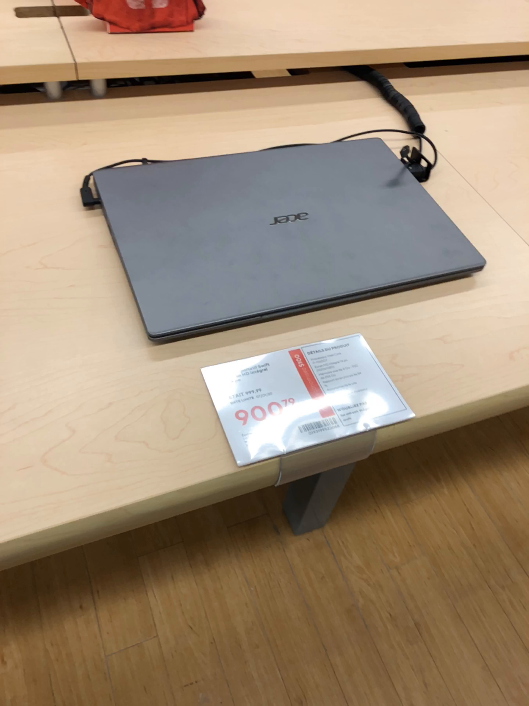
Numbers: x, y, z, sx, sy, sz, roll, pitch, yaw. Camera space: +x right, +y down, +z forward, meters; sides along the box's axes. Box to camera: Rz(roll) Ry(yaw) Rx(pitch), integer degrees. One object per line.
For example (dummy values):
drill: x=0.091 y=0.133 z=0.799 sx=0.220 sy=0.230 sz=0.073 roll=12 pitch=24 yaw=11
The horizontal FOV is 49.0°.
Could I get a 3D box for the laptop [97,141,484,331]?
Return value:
laptop: x=0.022 y=-0.125 z=0.536 sx=0.307 sy=0.001 sz=0.201 roll=-13 pitch=54 yaw=-19
